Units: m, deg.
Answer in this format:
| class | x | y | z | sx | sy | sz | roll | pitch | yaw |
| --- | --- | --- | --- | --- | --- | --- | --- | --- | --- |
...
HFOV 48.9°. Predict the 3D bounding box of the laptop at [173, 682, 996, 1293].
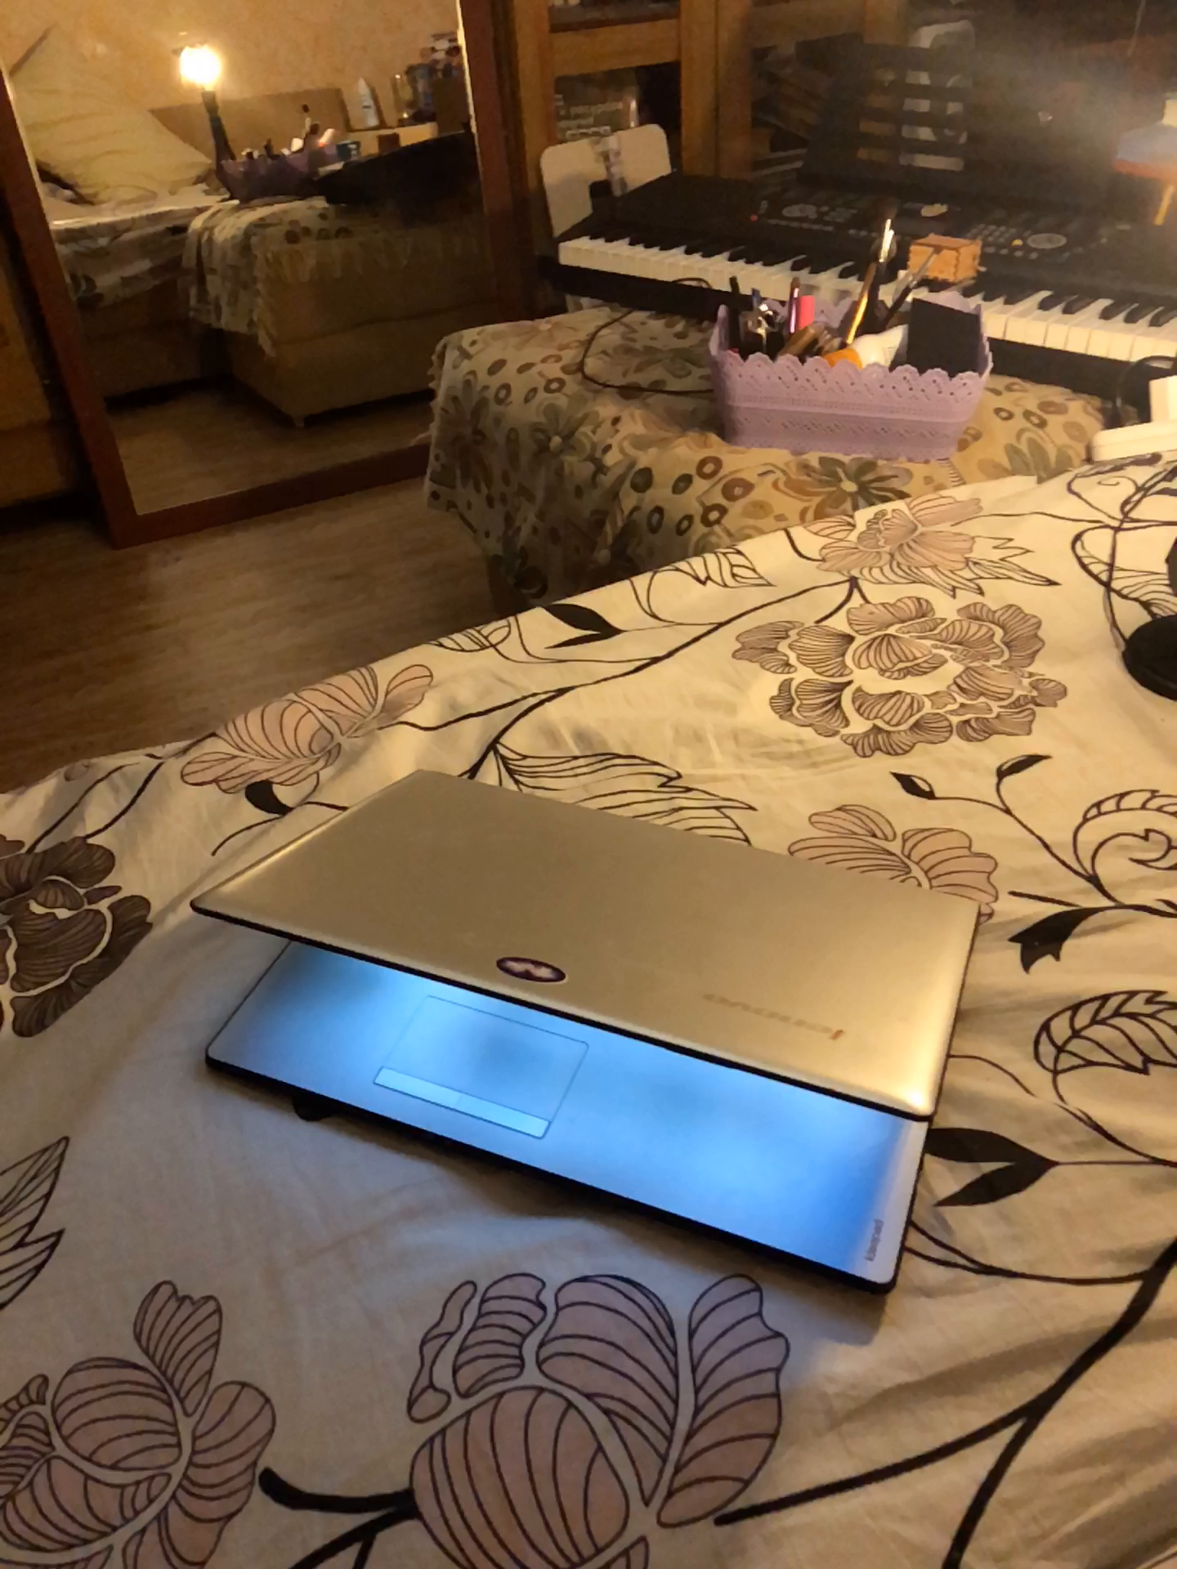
| class | x | y | z | sx | sy | sz | roll | pitch | yaw |
| --- | --- | --- | --- | --- | --- | --- | --- | --- | --- |
| laptop | 0.009 | 0.079 | 0.713 | 0.380 | 0.082 | 0.258 | 12 | 40 | 20 |
